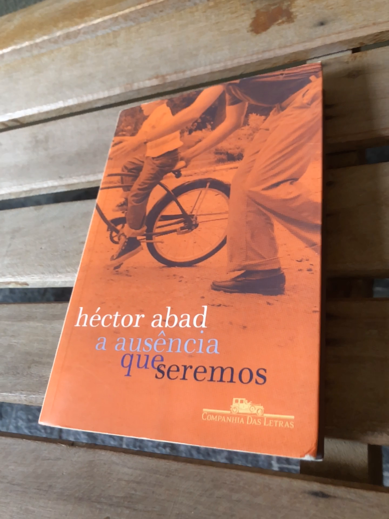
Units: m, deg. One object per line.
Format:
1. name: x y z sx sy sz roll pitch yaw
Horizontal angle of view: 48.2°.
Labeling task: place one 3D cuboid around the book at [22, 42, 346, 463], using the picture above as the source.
1. book: 0.000 -0.015 0.224 0.143 0.020 0.201 -4 63 25
